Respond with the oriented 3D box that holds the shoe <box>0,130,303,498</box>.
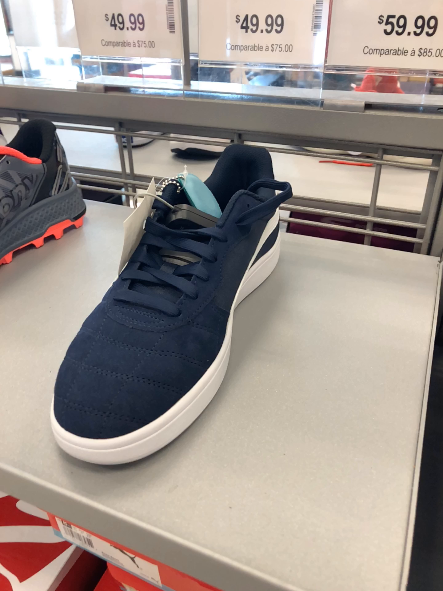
[{"bbox_3d":[-0.037,-0.019,0.332,0.119,0.119,0.242,11,34,19],"label":"shoe"}]
